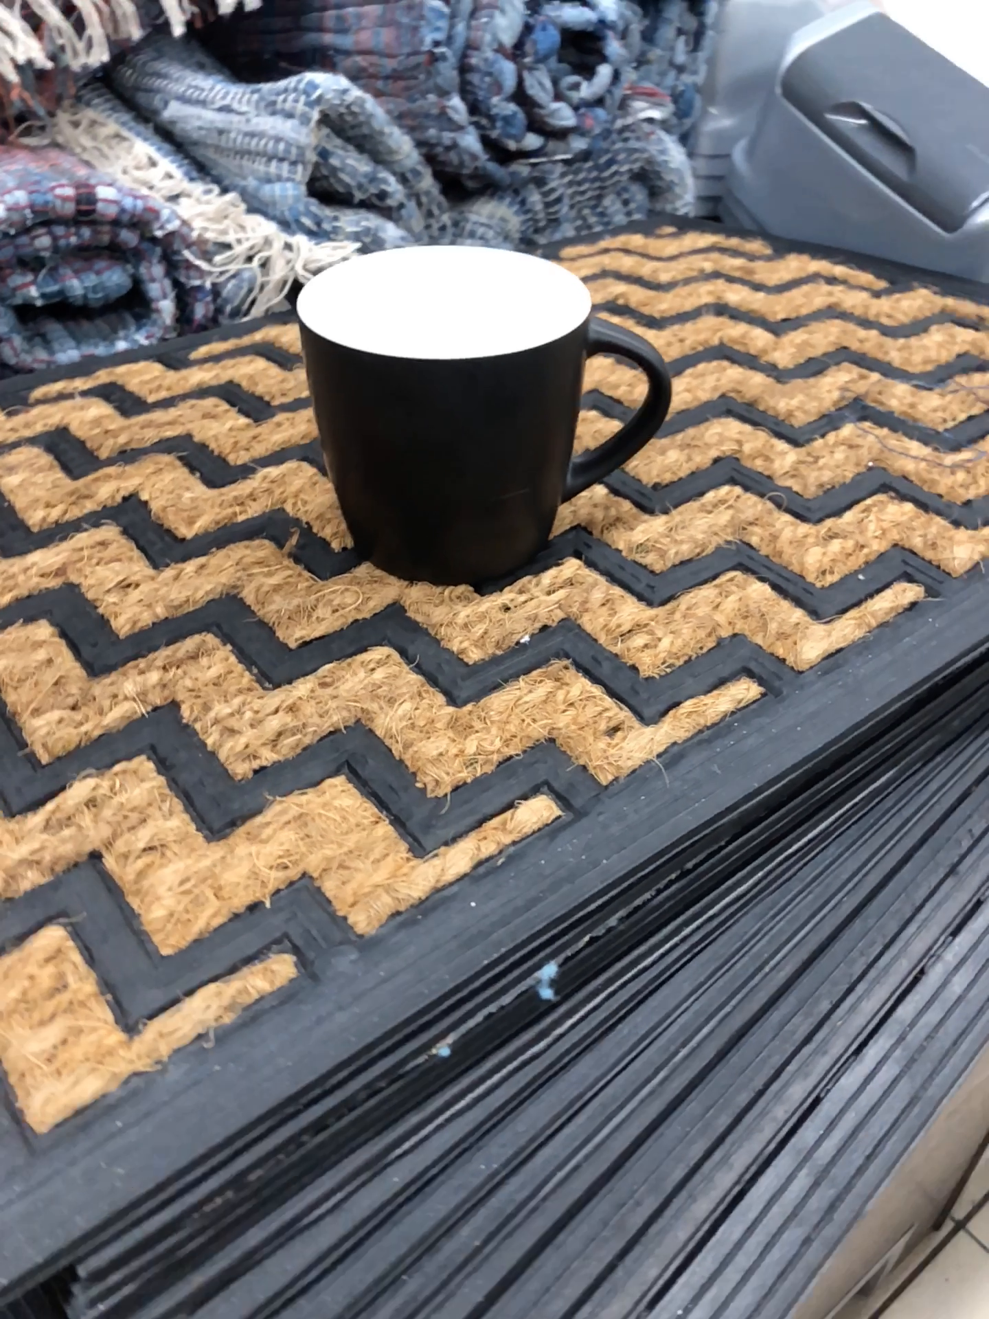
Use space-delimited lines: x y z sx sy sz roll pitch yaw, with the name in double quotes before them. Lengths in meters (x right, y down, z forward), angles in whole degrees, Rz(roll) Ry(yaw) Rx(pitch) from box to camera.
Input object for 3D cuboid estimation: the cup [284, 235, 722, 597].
"cup" -0.001 -0.083 0.365 0.123 0.081 0.091 -3 40 -4
